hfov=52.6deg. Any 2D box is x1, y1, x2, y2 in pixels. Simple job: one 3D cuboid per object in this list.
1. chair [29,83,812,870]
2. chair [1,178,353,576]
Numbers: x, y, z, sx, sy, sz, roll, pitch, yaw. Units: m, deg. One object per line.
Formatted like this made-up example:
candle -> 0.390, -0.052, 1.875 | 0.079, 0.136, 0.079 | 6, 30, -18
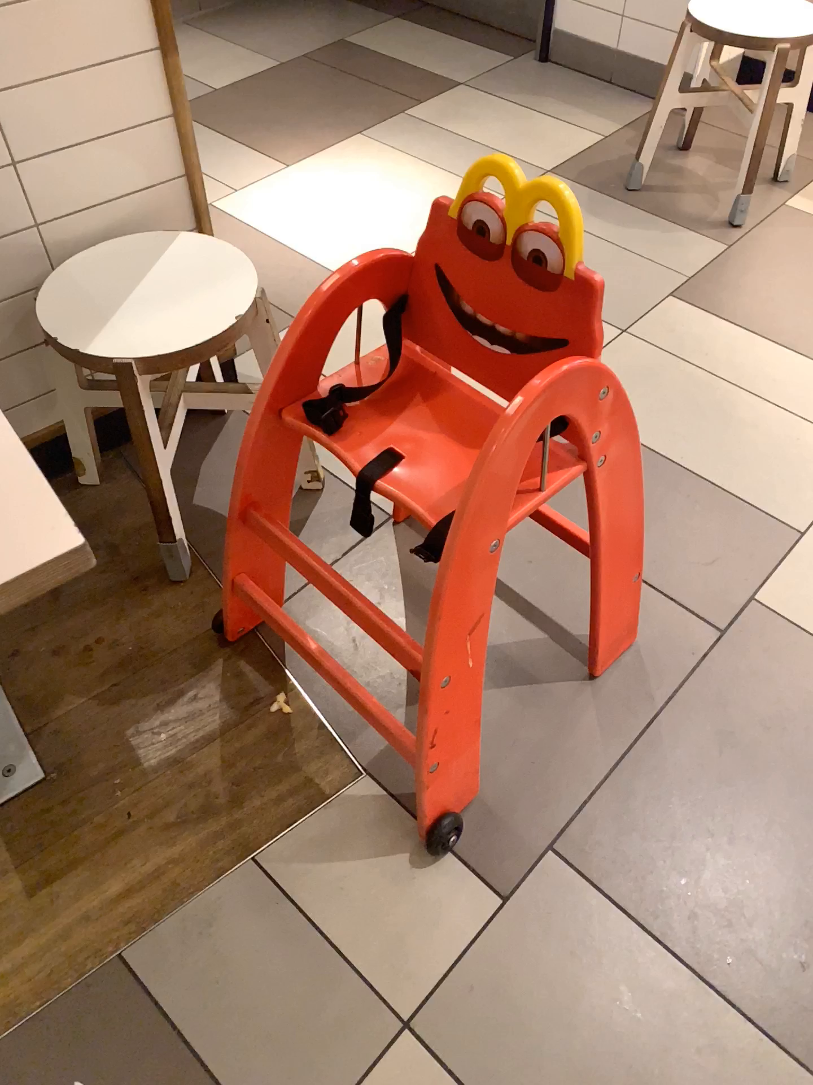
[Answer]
chair -> 0.025, -0.095, 1.098 | 0.583, 0.654, 0.583 | 36, 59, 26
chair -> -0.346, -0.275, 1.383 | 0.321, 0.446, 0.372 | 36, 59, 26
